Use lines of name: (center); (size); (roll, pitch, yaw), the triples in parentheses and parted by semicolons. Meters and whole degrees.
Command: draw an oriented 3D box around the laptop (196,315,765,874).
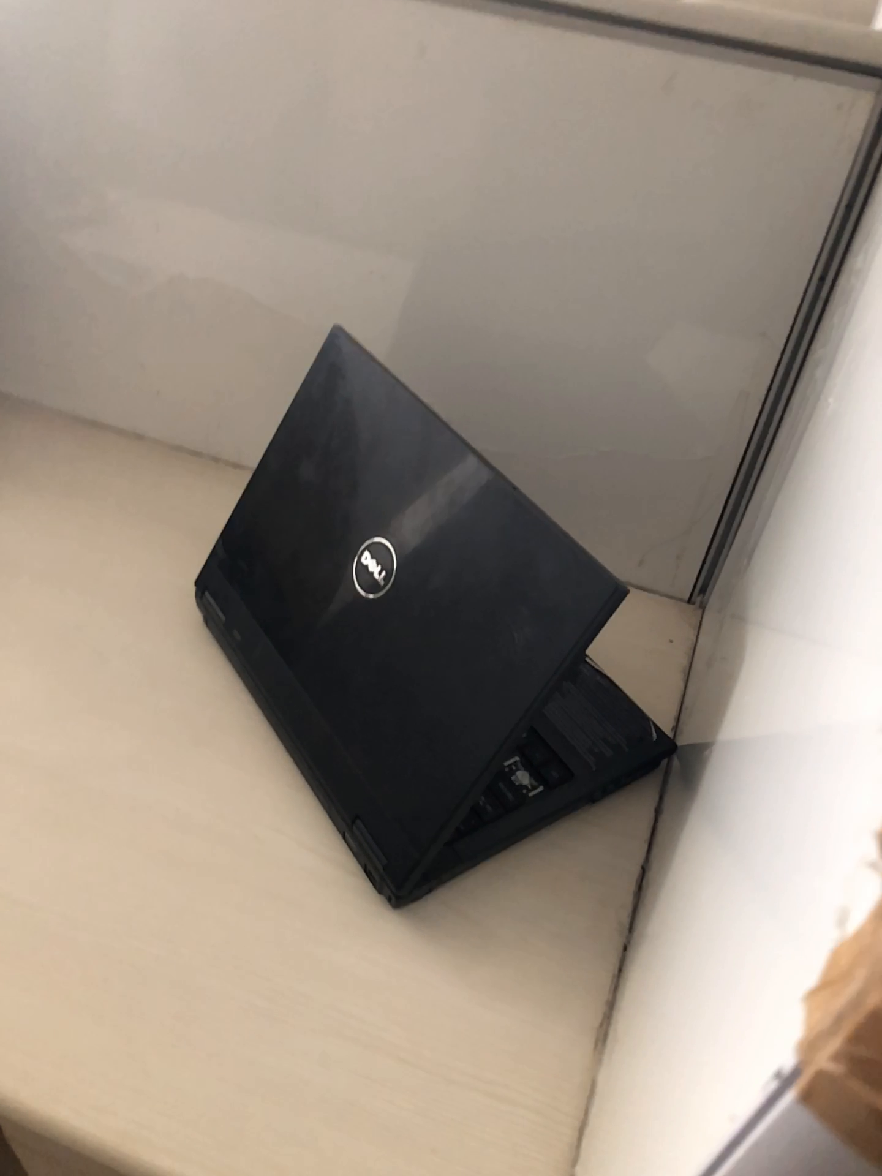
laptop: (0.007, -0.019, 0.669); (0.230, 0.190, 0.305); (-19, 49, -29)
